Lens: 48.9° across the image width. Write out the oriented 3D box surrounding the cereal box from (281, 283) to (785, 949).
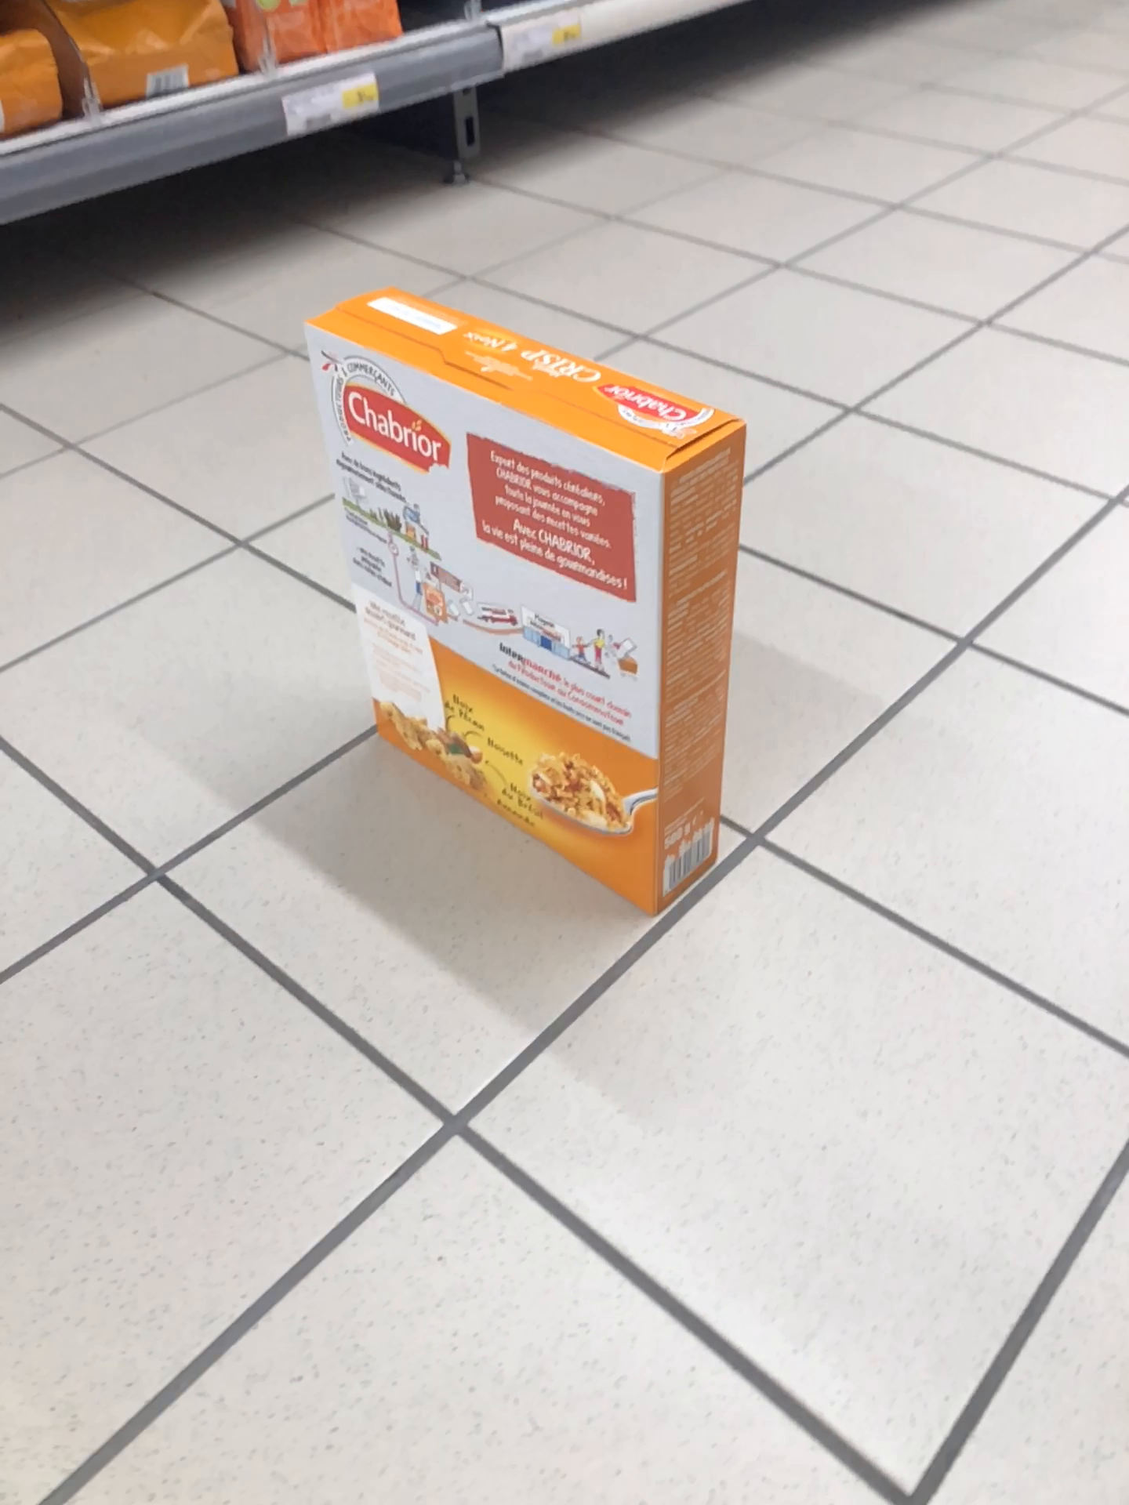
[{"bbox_3d":[-0.016,-0.057,0.527,0.200,0.219,0.060,31,51,32],"label":"cereal box"}]
